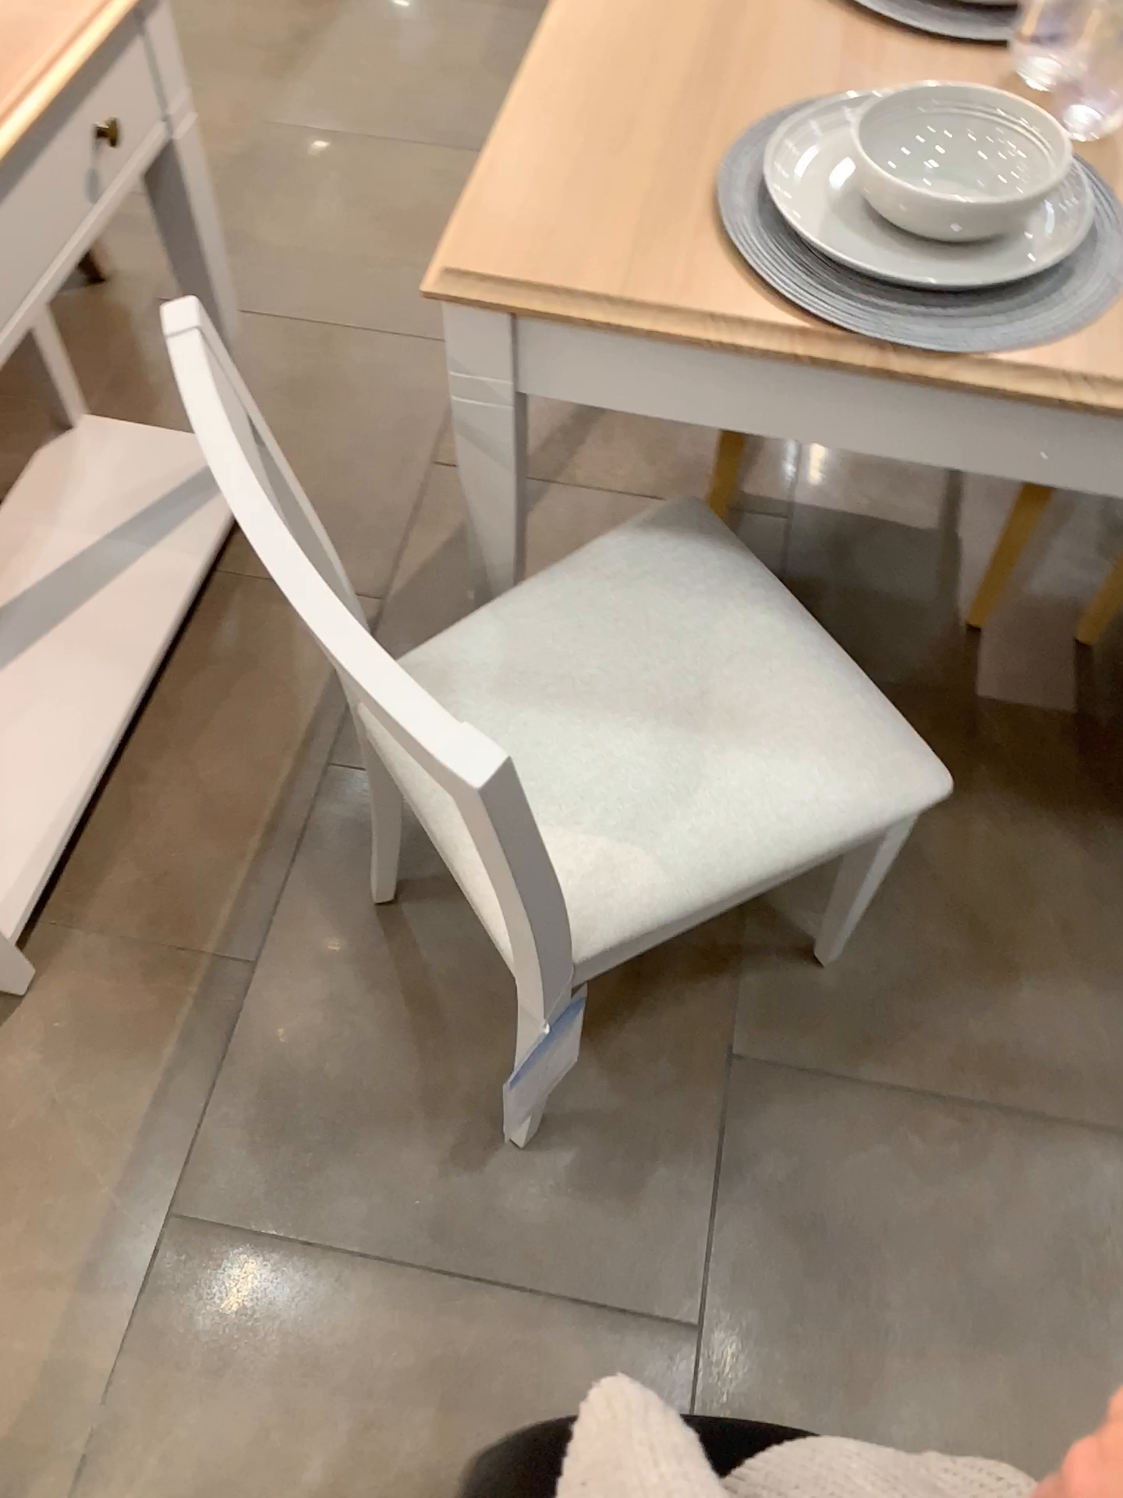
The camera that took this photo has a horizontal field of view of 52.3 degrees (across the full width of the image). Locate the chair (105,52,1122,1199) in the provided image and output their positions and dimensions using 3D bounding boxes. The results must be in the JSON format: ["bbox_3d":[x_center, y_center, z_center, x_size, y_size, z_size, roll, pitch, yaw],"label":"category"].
[{"bbox_3d":[0.043,-0.023,1.029,0.508,0.834,0.463,-25,62,-16],"label":"chair"}]
